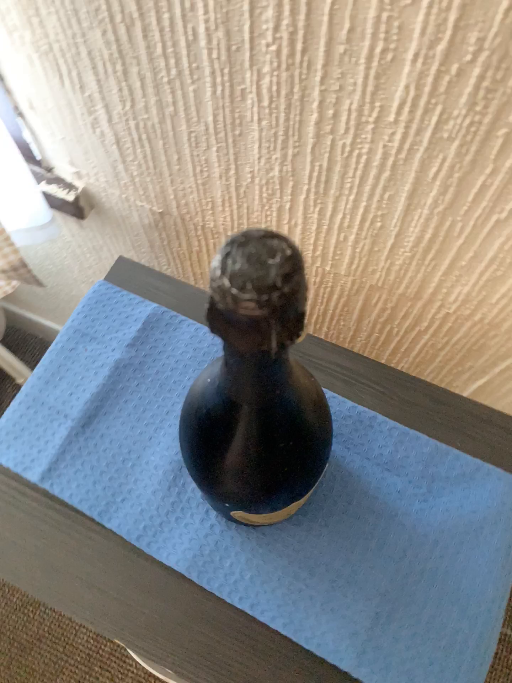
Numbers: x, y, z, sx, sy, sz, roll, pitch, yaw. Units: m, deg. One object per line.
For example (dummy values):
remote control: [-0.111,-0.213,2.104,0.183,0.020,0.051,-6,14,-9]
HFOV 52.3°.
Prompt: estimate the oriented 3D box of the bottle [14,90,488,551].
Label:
bottle: [-0.006,0.038,0.280,0.100,0.298,0.100,0,66,0]
